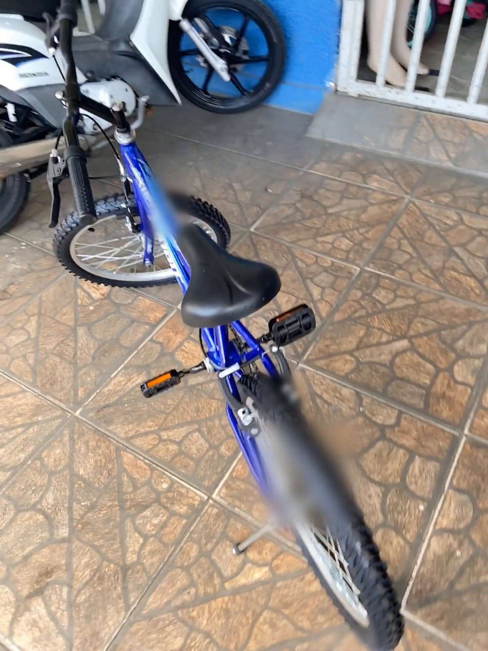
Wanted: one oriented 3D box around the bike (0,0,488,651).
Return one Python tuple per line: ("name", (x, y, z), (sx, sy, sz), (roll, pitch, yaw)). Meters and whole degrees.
("bike", (-0.128, -0.019, 0.888), (0.544, 0.949, 1.186), (-28, 52, -22))
